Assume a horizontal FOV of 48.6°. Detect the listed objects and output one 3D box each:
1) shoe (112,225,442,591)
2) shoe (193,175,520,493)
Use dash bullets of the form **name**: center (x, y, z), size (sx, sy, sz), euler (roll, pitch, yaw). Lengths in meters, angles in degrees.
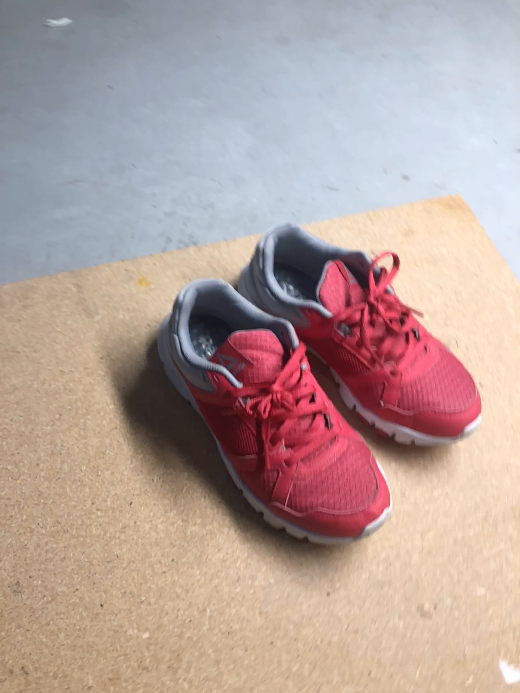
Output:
- **shoe**: center (0.000, 0.040, 0.465), size (0.100, 0.100, 0.270), euler (-31, 64, -20)
- **shoe**: center (0.075, -0.019, 0.508), size (0.270, 0.100, 0.110), euler (40, 64, 21)
